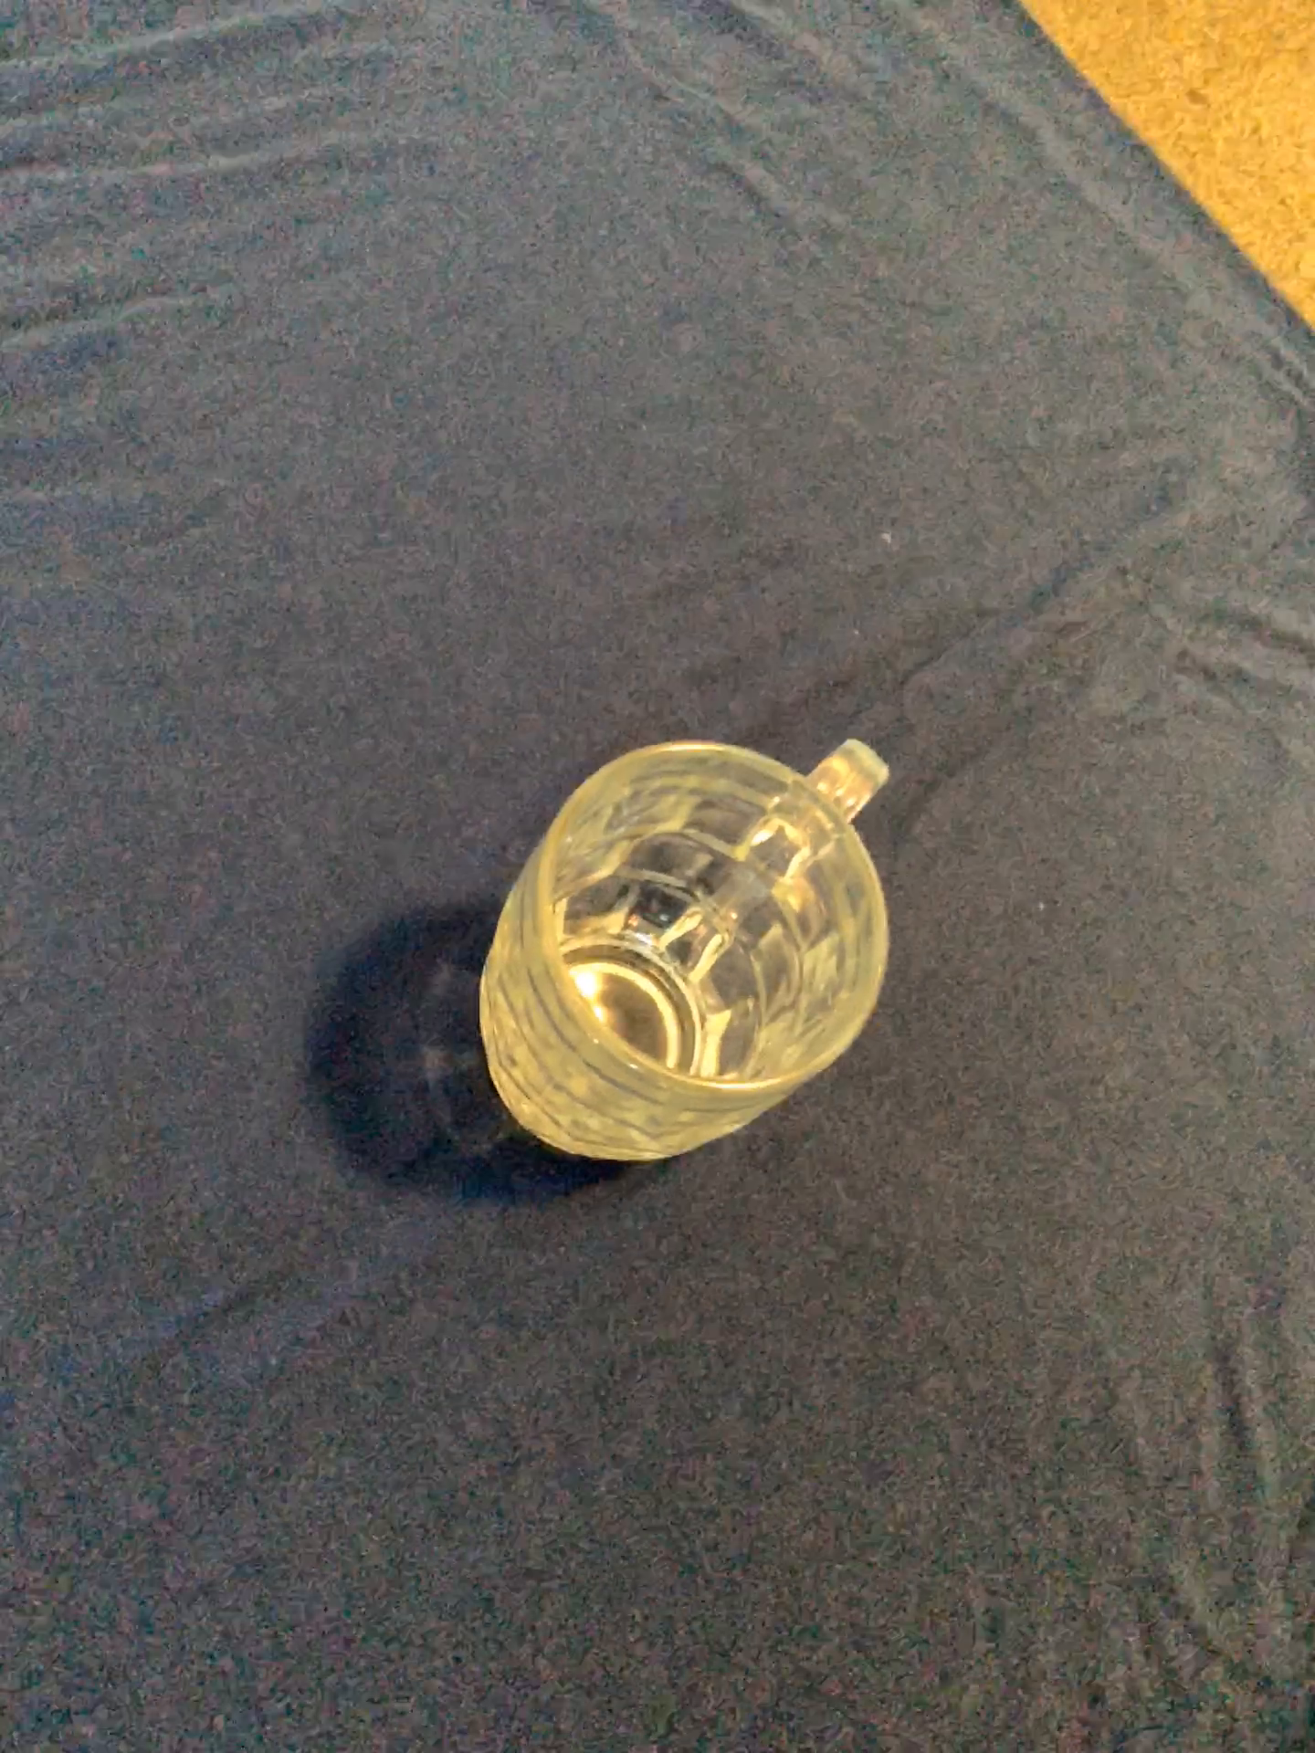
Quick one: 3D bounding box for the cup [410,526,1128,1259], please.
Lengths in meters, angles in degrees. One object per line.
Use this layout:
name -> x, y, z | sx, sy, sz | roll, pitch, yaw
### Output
cup -> 0.019, 0.009, 0.315 | 0.080, 0.110, 0.120 | 43, 64, 4
